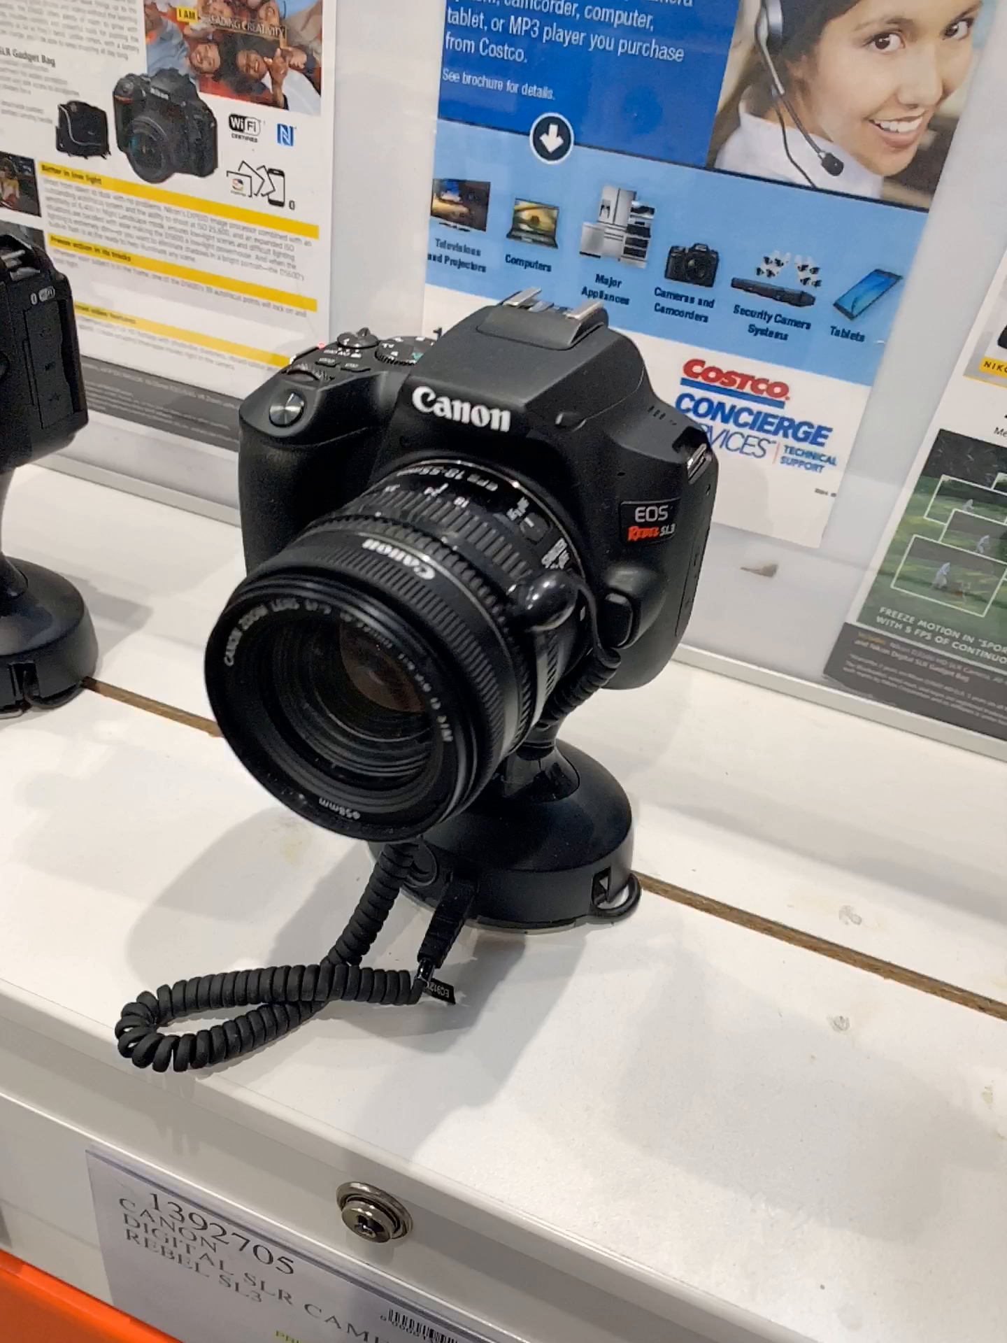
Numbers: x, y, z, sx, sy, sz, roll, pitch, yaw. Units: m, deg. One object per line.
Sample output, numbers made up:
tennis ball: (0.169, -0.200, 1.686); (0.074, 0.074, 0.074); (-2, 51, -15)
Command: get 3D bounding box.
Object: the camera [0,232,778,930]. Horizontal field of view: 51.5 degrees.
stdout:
camera: (-0.017, -0.032, 0.235); (0.120, 0.089, 0.111); (16, 37, 16)
